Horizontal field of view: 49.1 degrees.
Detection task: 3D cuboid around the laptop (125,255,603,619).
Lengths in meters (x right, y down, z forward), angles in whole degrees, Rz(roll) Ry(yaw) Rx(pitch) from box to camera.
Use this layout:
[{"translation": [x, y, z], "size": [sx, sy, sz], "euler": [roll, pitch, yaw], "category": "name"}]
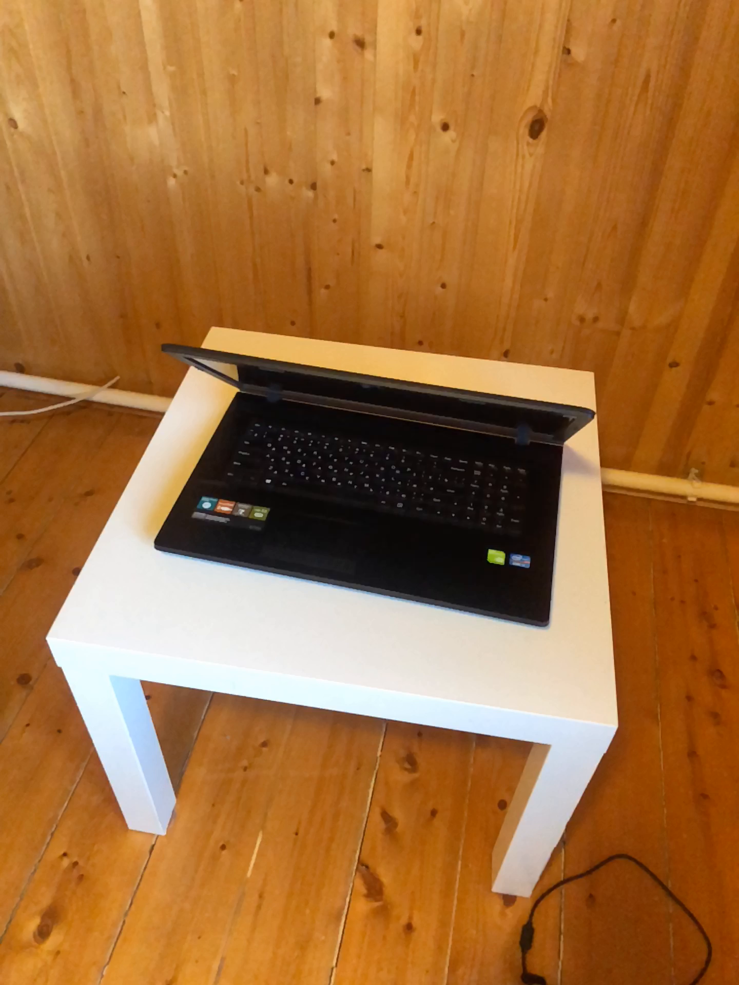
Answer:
[{"translation": [0.012, -0.066, 0.824], "size": [0.401, 0.183, 0.253], "euler": [10, 46, 6], "category": "laptop"}]
